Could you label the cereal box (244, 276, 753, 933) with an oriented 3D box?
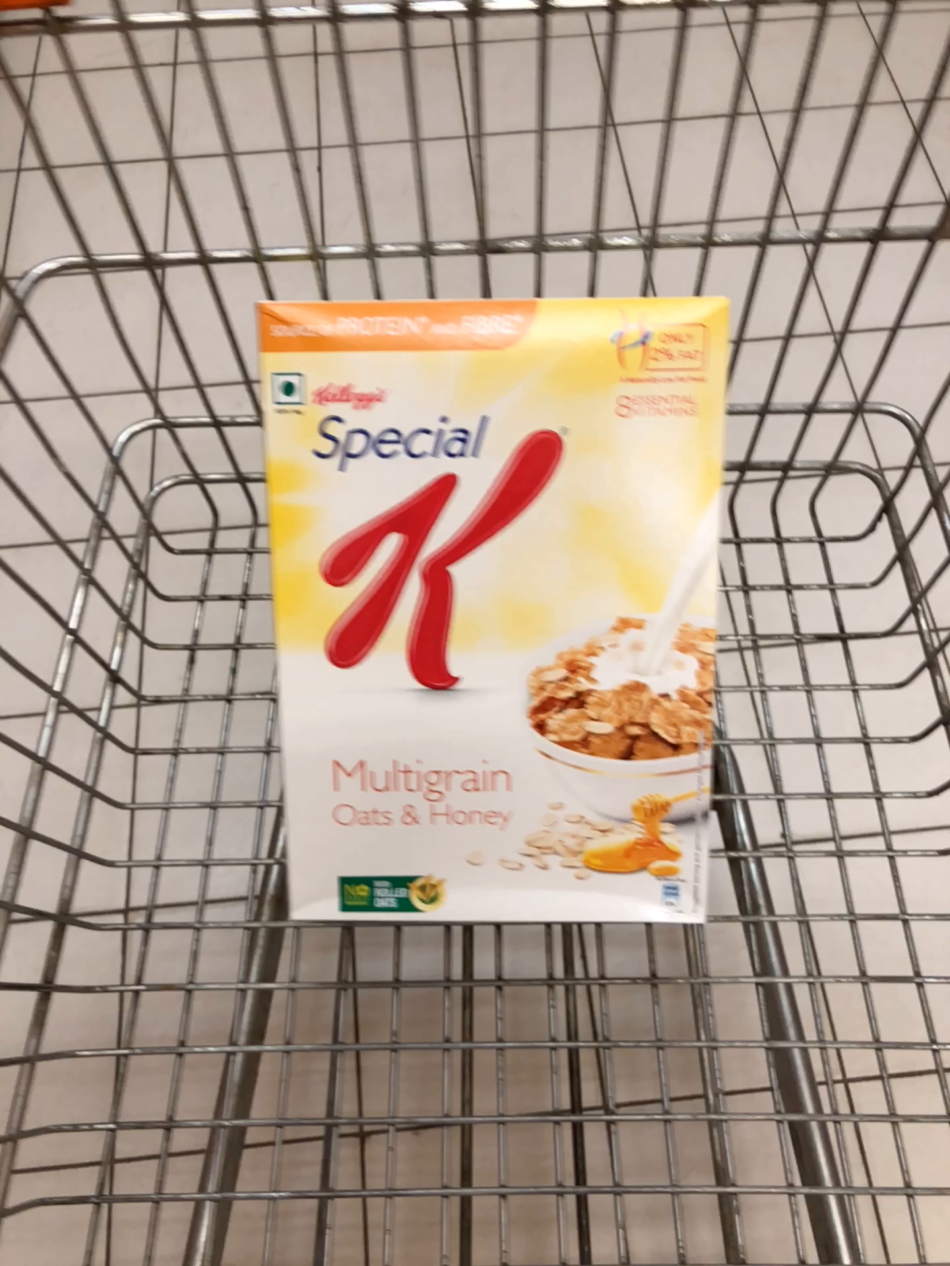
[{"bbox_3d":[0.009,-0.013,0.468,0.190,0.090,0.269,0,103,0],"label":"cereal box"}]
